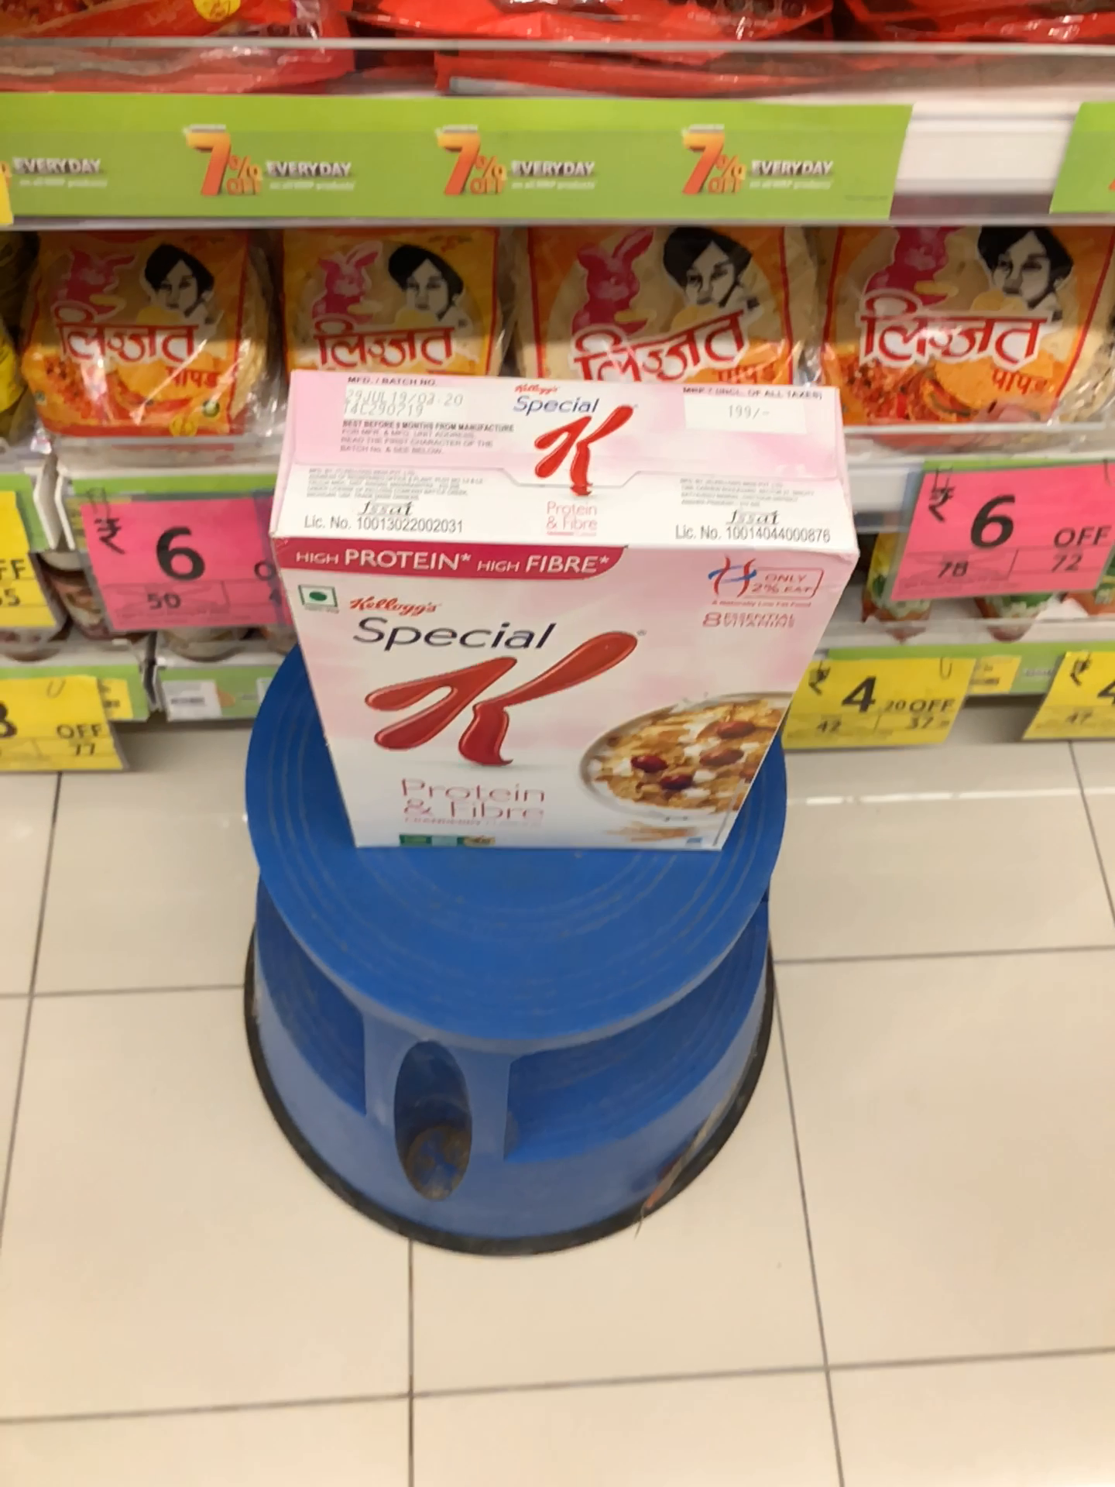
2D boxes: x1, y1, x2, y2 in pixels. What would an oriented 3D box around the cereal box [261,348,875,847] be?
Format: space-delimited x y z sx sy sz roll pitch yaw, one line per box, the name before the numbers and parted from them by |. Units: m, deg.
cereal box | 0.000 -0.038 0.489 0.180 0.249 0.070 1 65 -1
